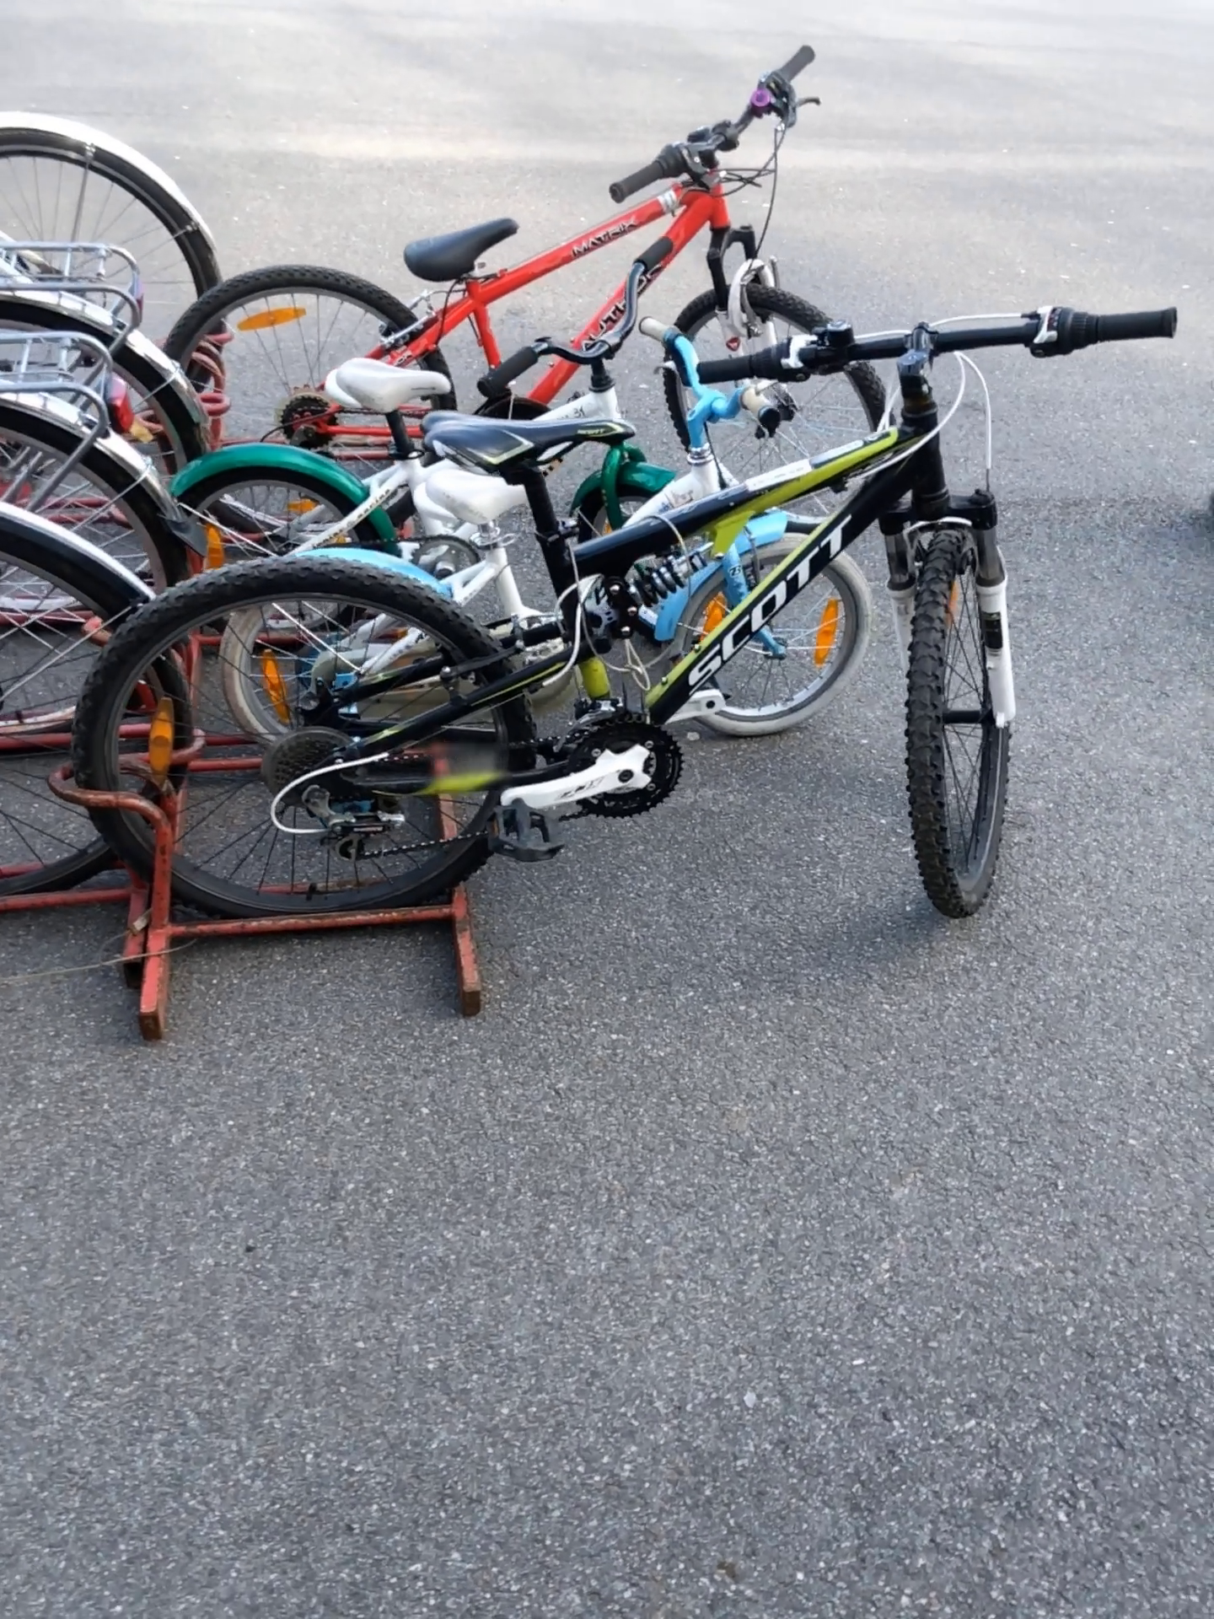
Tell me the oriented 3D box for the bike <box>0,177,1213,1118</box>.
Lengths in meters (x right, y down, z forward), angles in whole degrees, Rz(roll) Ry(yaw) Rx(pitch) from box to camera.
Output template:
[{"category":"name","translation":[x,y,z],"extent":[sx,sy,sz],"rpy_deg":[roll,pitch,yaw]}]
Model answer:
[{"category":"bike","translation":[0.000,-0.274,1.775],"extent":[1.373,0.901,0.531],"rpy_deg":[-10,38,-17]}]
